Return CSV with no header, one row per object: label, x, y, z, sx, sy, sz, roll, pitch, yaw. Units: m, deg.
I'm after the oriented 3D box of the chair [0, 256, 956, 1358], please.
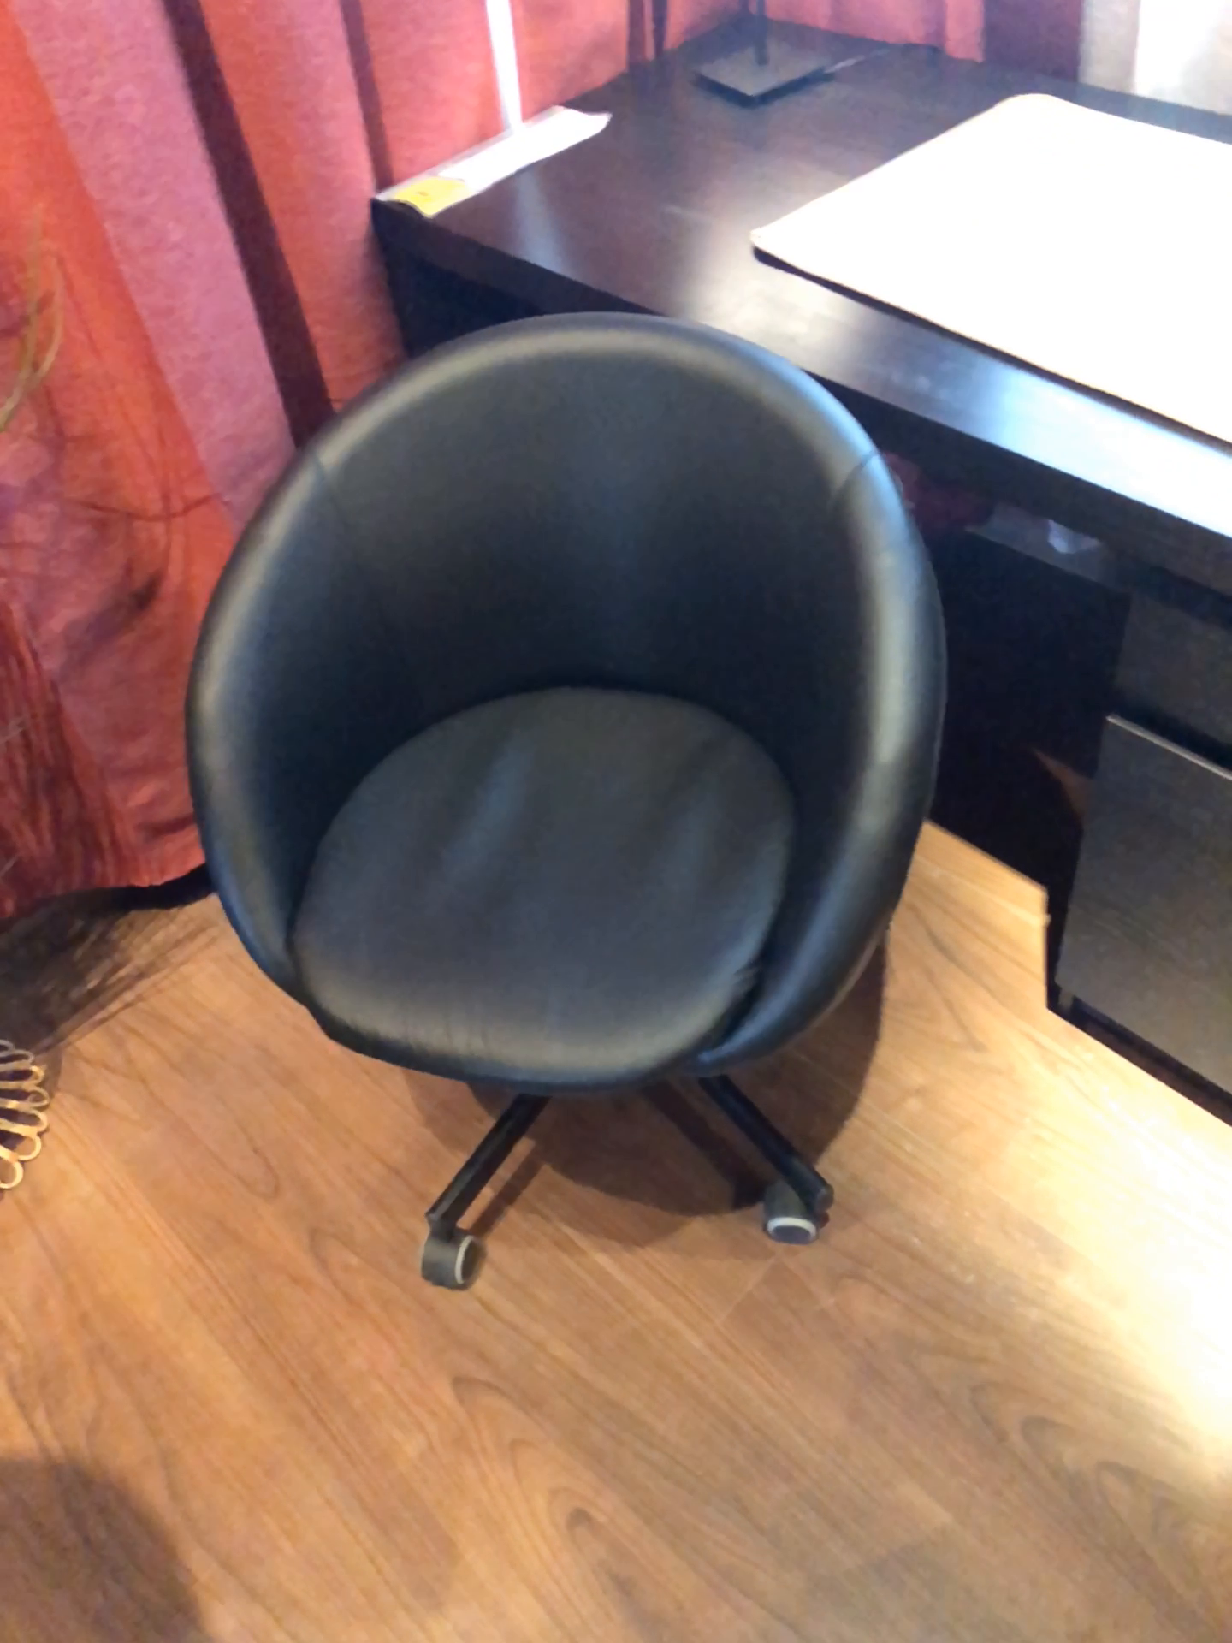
chair,-0.060,0.000,1.156,0.630,0.696,0.573,3,49,12
